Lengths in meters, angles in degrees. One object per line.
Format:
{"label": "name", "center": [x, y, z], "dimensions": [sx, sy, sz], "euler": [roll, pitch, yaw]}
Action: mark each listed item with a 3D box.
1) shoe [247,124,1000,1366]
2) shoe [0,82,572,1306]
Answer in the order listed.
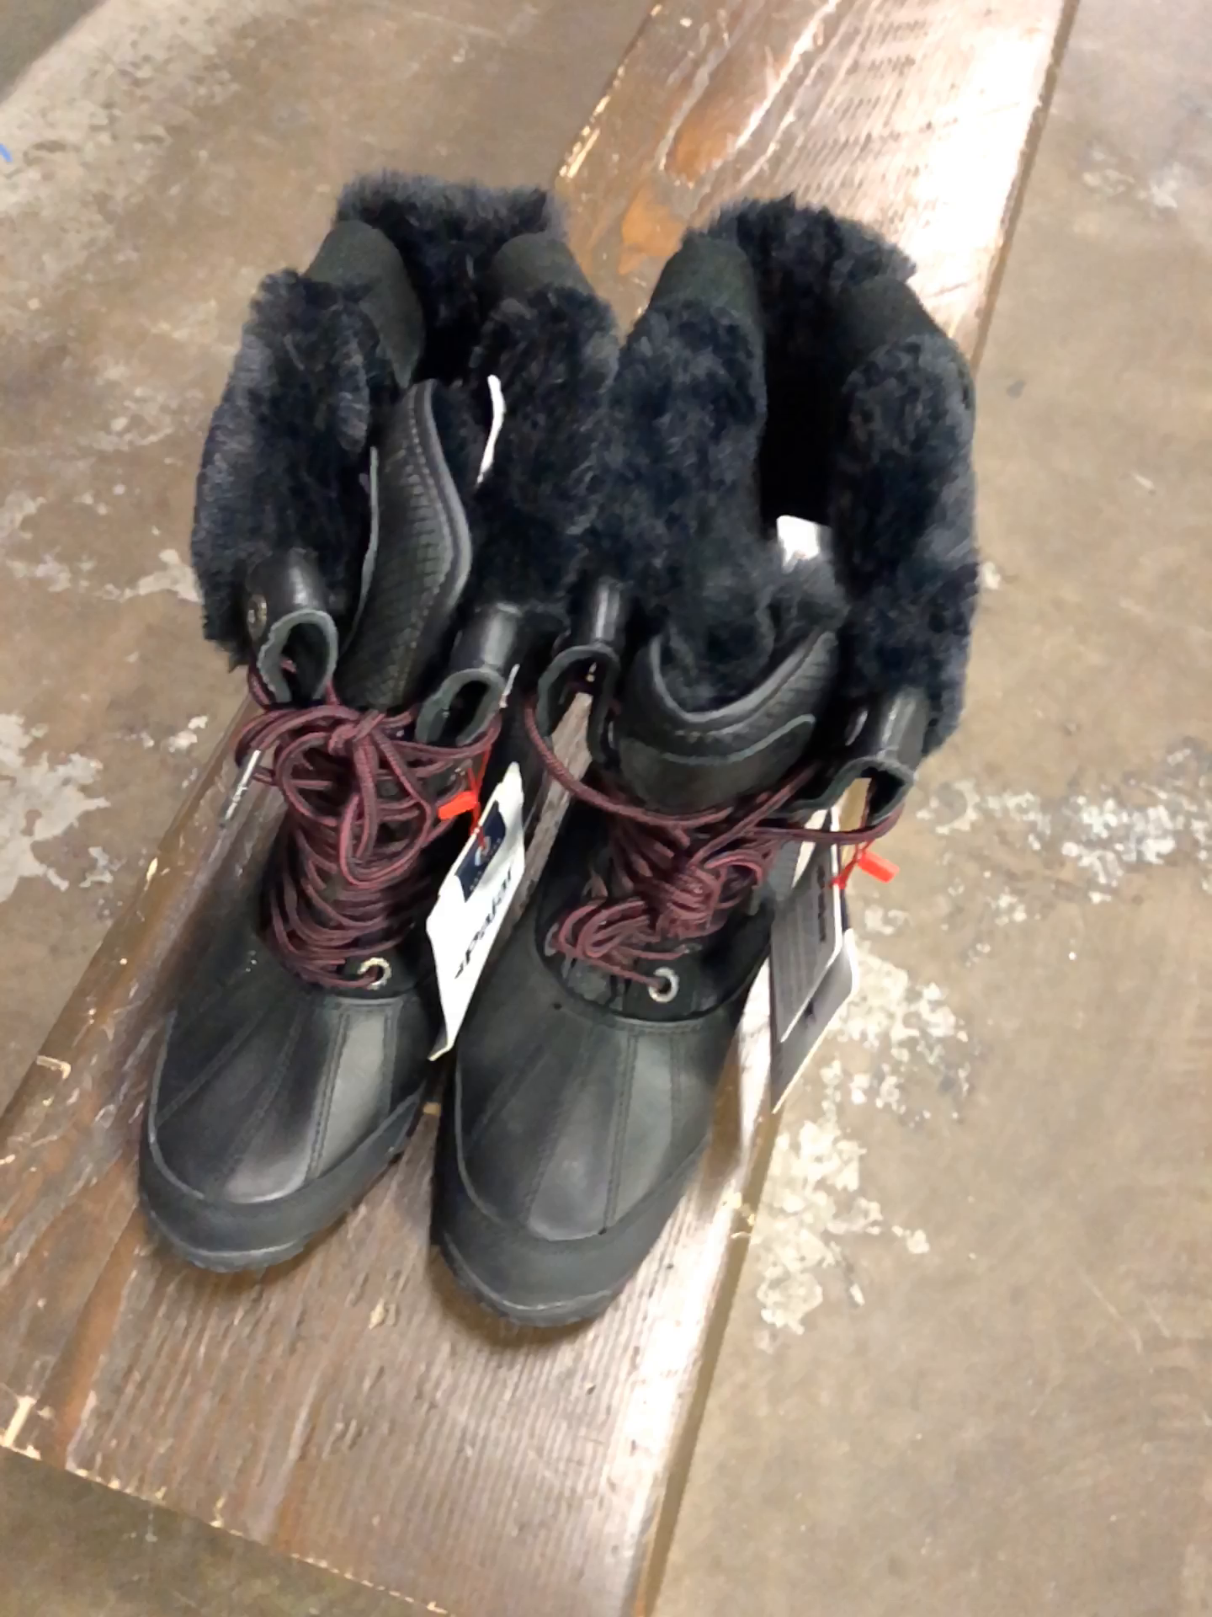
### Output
{"label": "shoe", "center": [0.009, 0.004, 0.379], "dimensions": [0.100, 0.258, 0.231], "euler": [15, 59, 3]}
{"label": "shoe", "center": [-0.094, -0.010, 0.380], "dimensions": [0.100, 0.258, 0.221], "euler": [15, 59, 3]}
